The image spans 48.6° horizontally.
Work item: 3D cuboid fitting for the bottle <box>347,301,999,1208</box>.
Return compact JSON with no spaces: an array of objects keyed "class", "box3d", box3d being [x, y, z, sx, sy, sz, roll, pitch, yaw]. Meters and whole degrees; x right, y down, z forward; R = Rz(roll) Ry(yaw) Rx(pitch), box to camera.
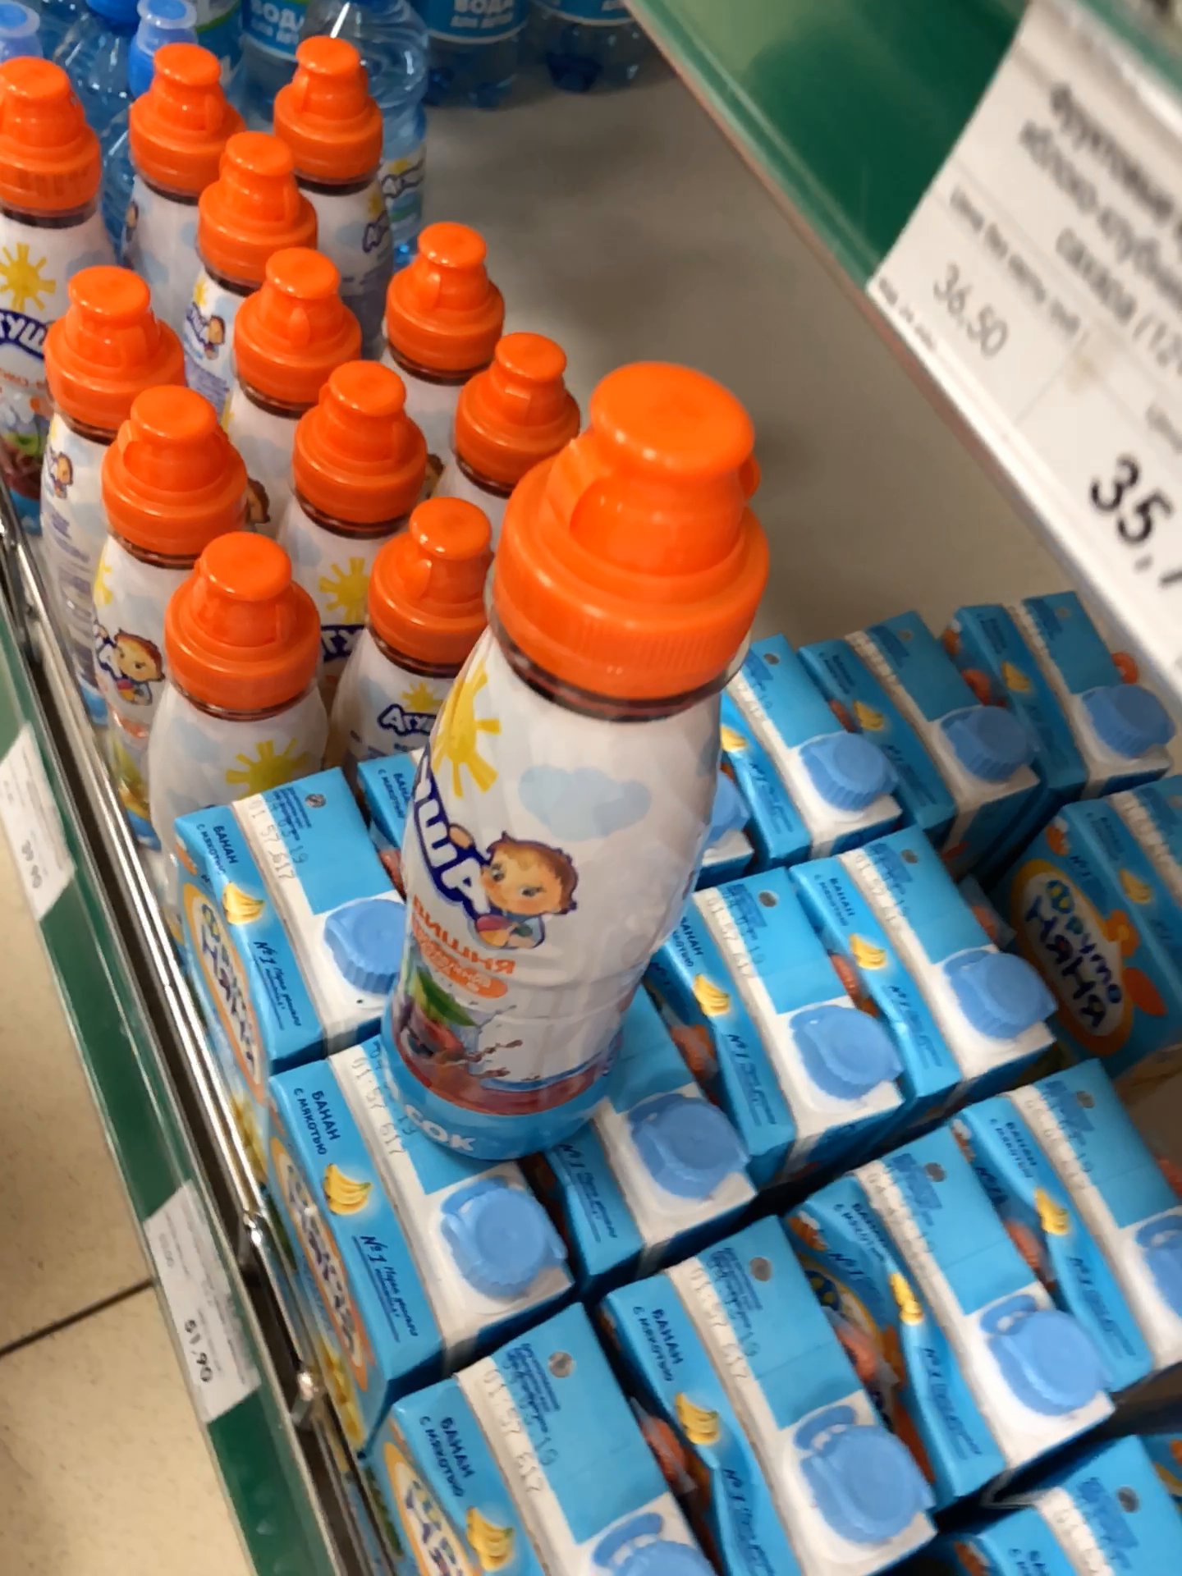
[{"class":"bottle","box3d":[-0.002,0.010,0.251,0.056,0.190,0.054,8,51,-10]}]
